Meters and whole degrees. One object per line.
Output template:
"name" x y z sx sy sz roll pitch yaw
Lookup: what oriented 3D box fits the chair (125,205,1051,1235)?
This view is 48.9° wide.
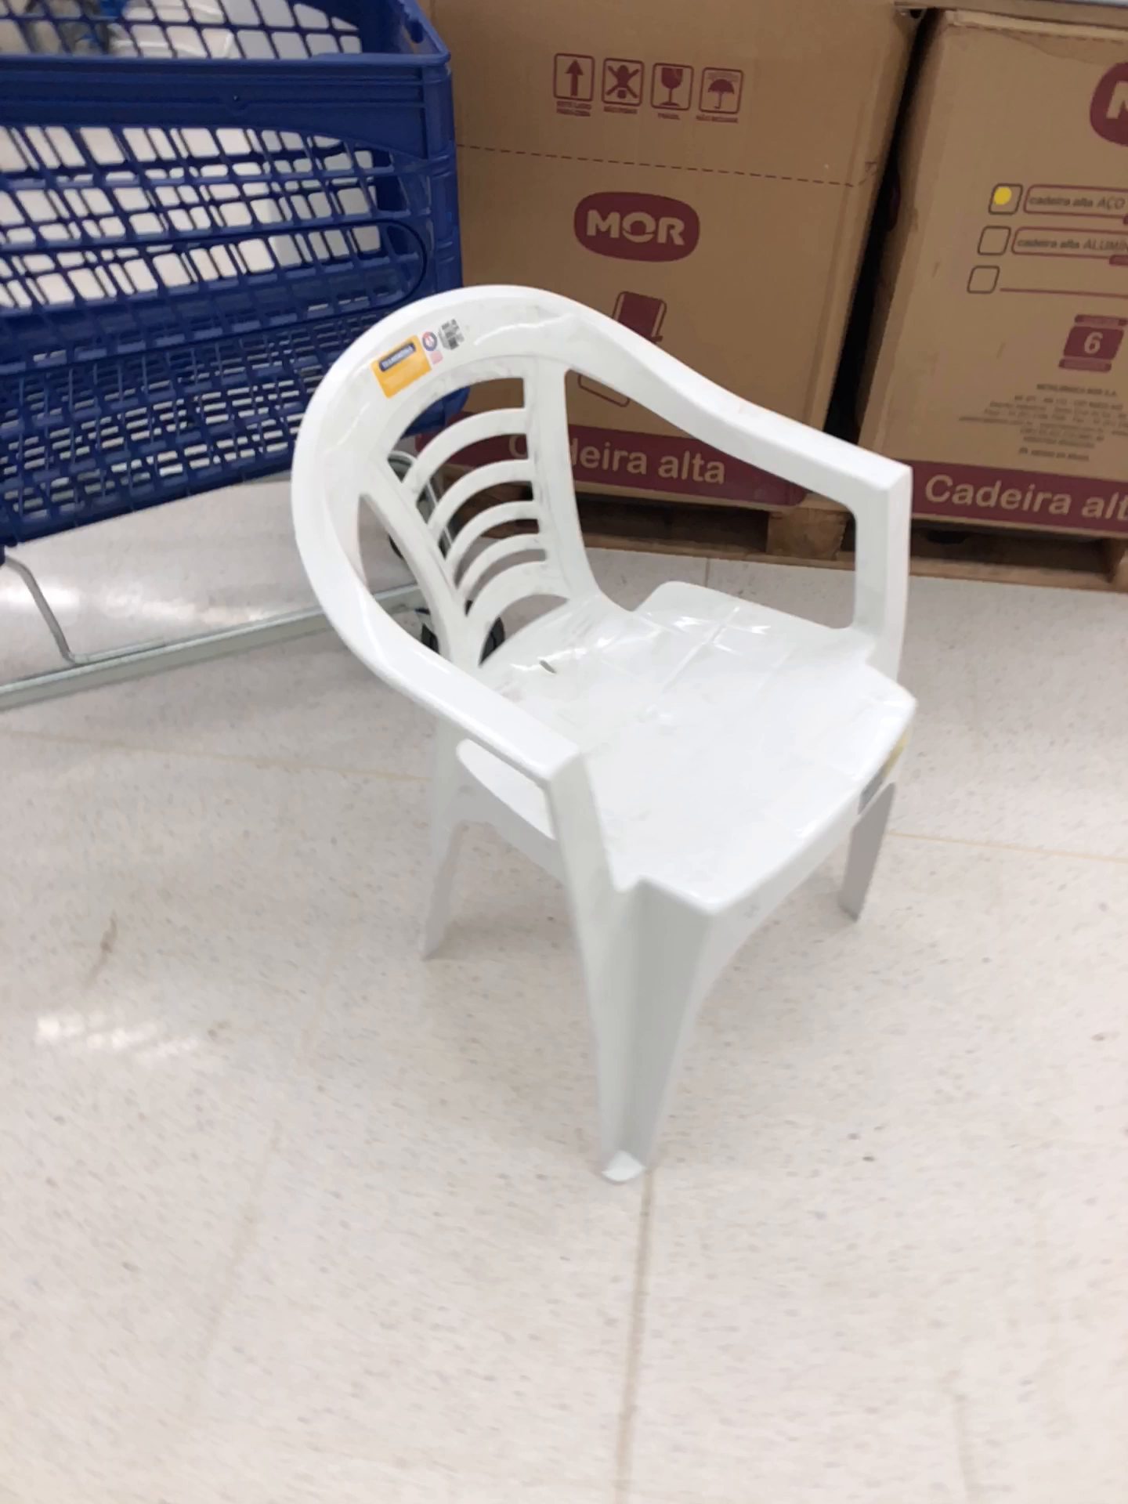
"chair" 0.028 -0.030 1.208 0.501 0.695 0.522 30 53 25
